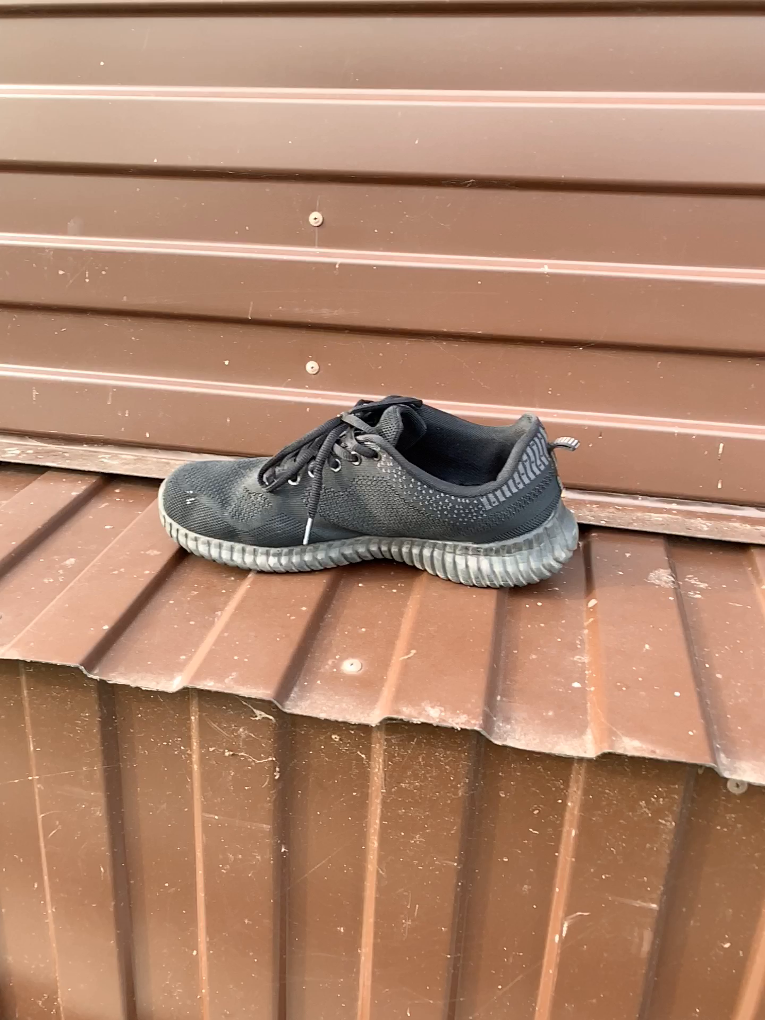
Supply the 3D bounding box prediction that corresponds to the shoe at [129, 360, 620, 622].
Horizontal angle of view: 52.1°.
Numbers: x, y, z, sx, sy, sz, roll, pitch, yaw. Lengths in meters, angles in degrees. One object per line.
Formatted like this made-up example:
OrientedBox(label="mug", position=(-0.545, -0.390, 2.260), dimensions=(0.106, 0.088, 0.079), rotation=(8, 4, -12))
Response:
OrientedBox(label="shoe", position=(-0.003, -0.021, 0.553), dimensions=(0.300, 0.119, 0.121), rotation=(5, 29, 7))
